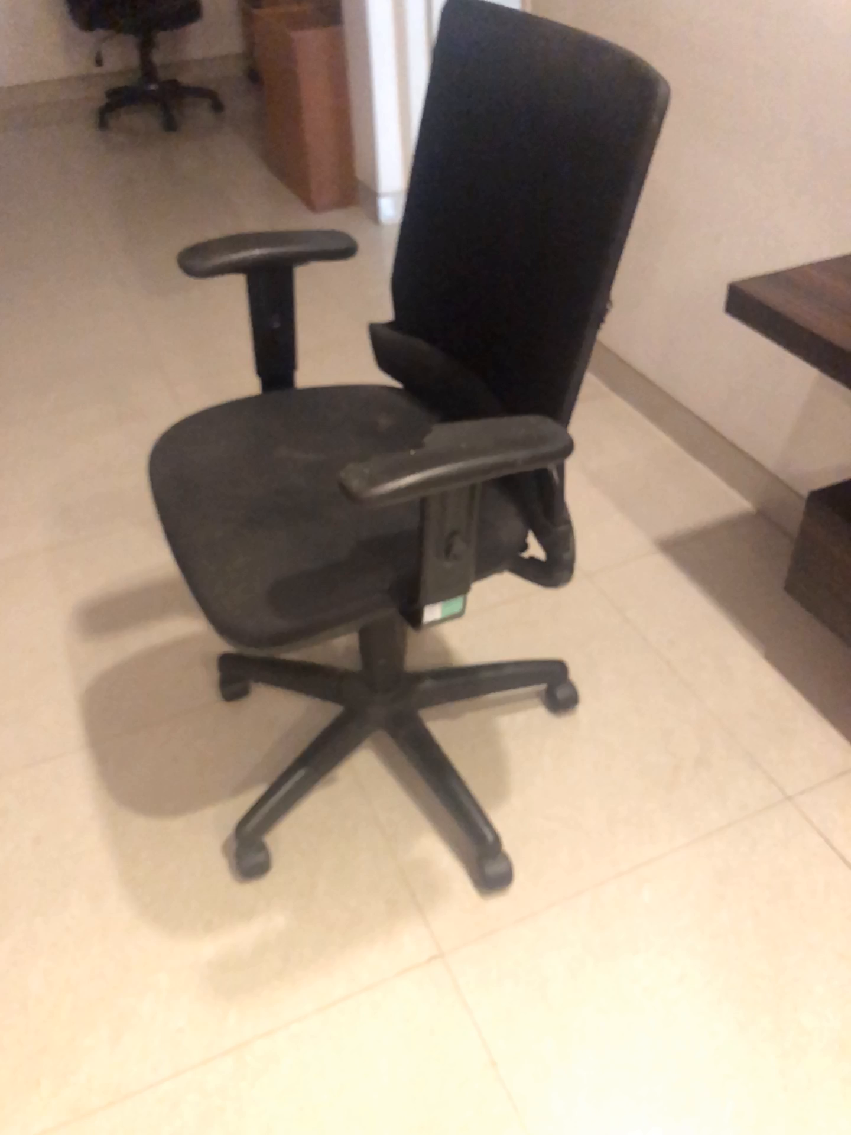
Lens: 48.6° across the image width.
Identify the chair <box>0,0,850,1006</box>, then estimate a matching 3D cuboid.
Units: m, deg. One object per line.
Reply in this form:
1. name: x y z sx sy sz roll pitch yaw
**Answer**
1. chair: -0.060 -0.121 1.299 0.701 1.042 0.714 -19 42 -18
